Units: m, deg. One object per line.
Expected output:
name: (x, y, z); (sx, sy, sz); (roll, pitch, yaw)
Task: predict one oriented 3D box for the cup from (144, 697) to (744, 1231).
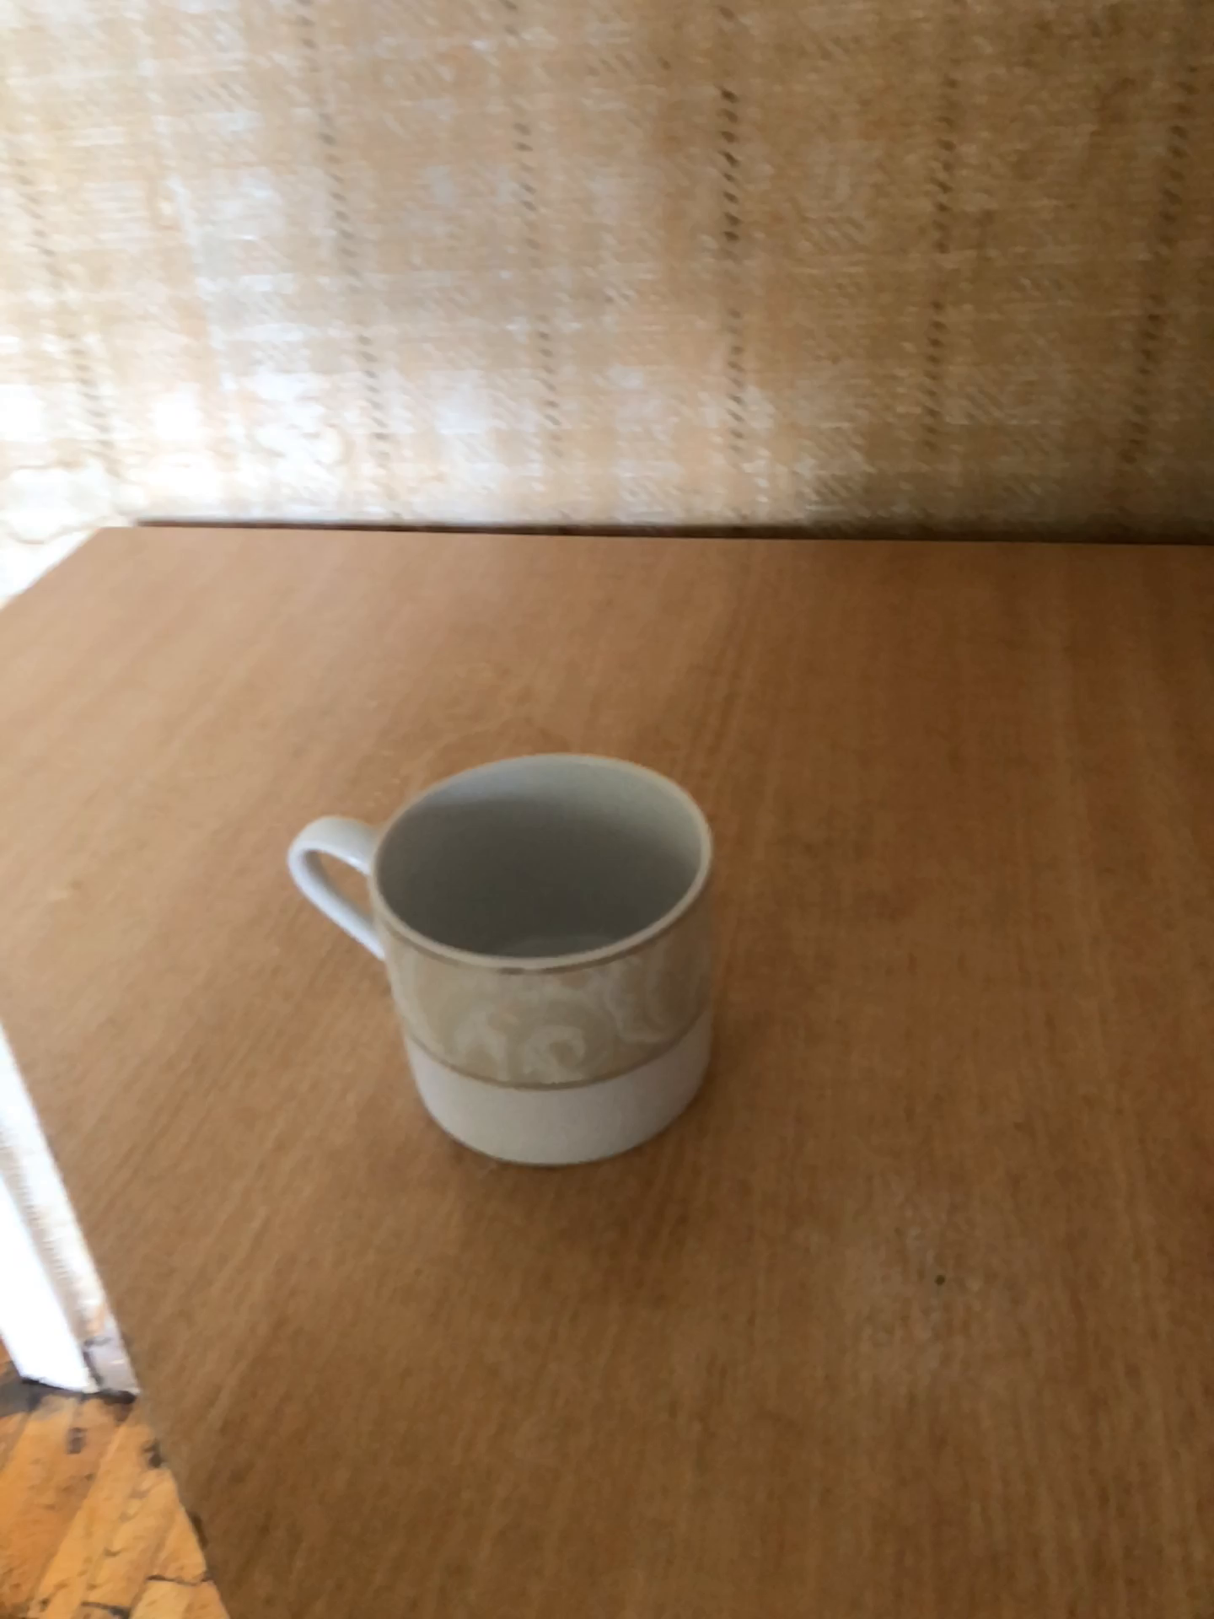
cup: (-0.032, 0.030, 0.304); (0.105, 0.069, 0.075); (11, 37, 23)
